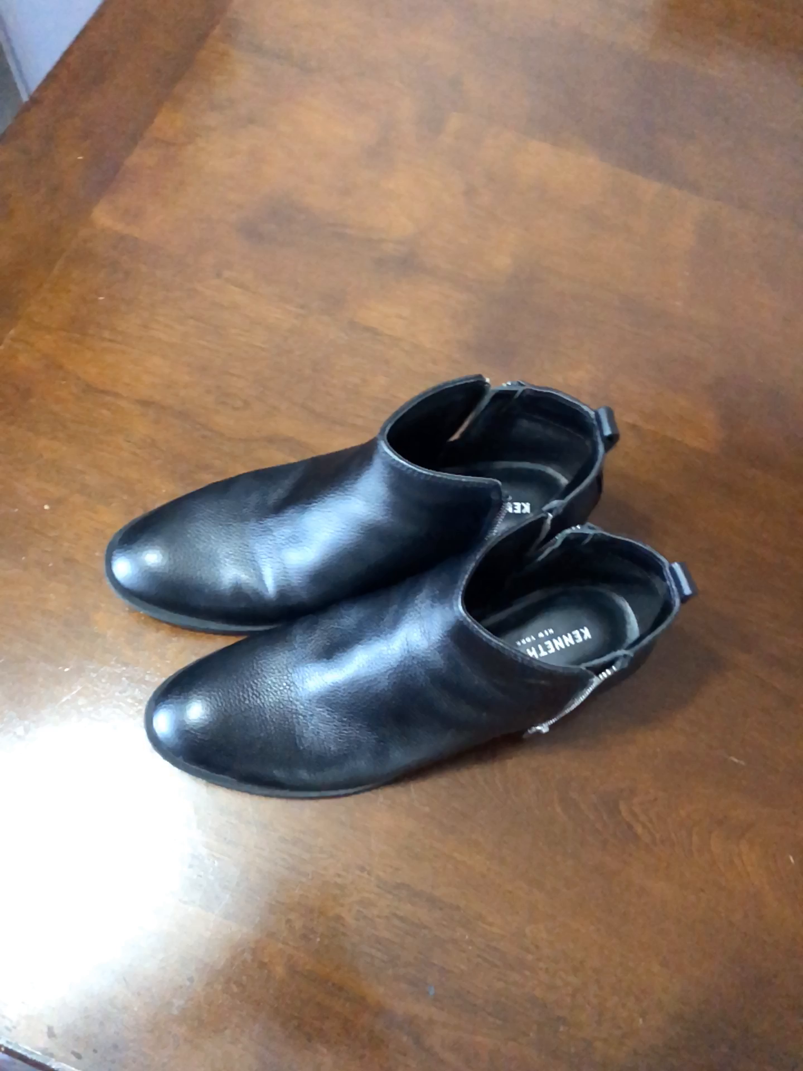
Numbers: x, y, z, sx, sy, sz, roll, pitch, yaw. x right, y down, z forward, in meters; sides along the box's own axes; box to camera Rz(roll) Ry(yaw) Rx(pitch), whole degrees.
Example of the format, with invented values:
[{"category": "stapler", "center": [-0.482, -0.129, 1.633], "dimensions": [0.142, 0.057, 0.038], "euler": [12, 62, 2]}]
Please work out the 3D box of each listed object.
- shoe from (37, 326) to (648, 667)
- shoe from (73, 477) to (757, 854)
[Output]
[{"category": "shoe", "center": [-0.031, -0.015, 0.455], "dimensions": [0.260, 0.130, 0.100], "euler": [-7, 69, -7]}, {"category": "shoe", "center": [0.001, 0.066, 0.416], "dimensions": [0.260, 0.130, 0.100], "euler": [-10, 69, -8]}]
